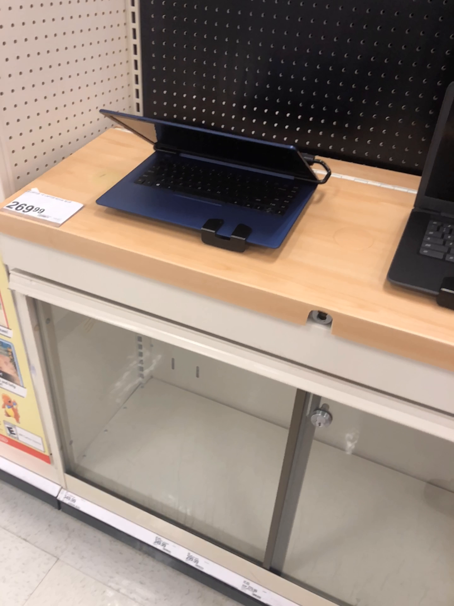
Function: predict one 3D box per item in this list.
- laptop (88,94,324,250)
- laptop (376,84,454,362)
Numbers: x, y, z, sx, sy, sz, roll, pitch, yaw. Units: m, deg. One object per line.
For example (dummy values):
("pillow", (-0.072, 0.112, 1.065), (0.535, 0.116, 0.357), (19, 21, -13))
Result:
("laptop", (-0.033, -0.230, 0.824), (0.321, 0.110, 0.201), (17, 43, 19))
("laptop", (0.419, -0.124, 0.649), (0.331, 0.206, 0.224), (19, 40, 20))
